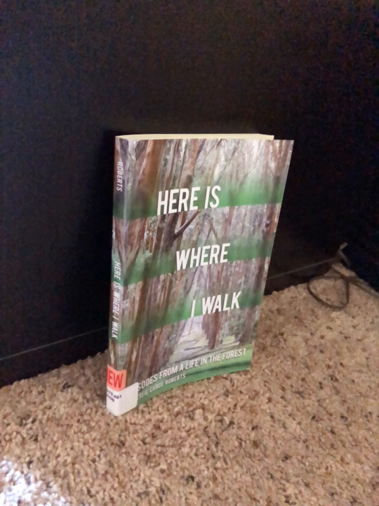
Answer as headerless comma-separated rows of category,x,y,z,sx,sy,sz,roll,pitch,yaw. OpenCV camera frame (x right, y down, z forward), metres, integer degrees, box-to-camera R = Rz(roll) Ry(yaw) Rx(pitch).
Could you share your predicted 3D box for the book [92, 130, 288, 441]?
book,0.000,0.017,0.325,0.146,0.212,0.037,-14,28,-40
